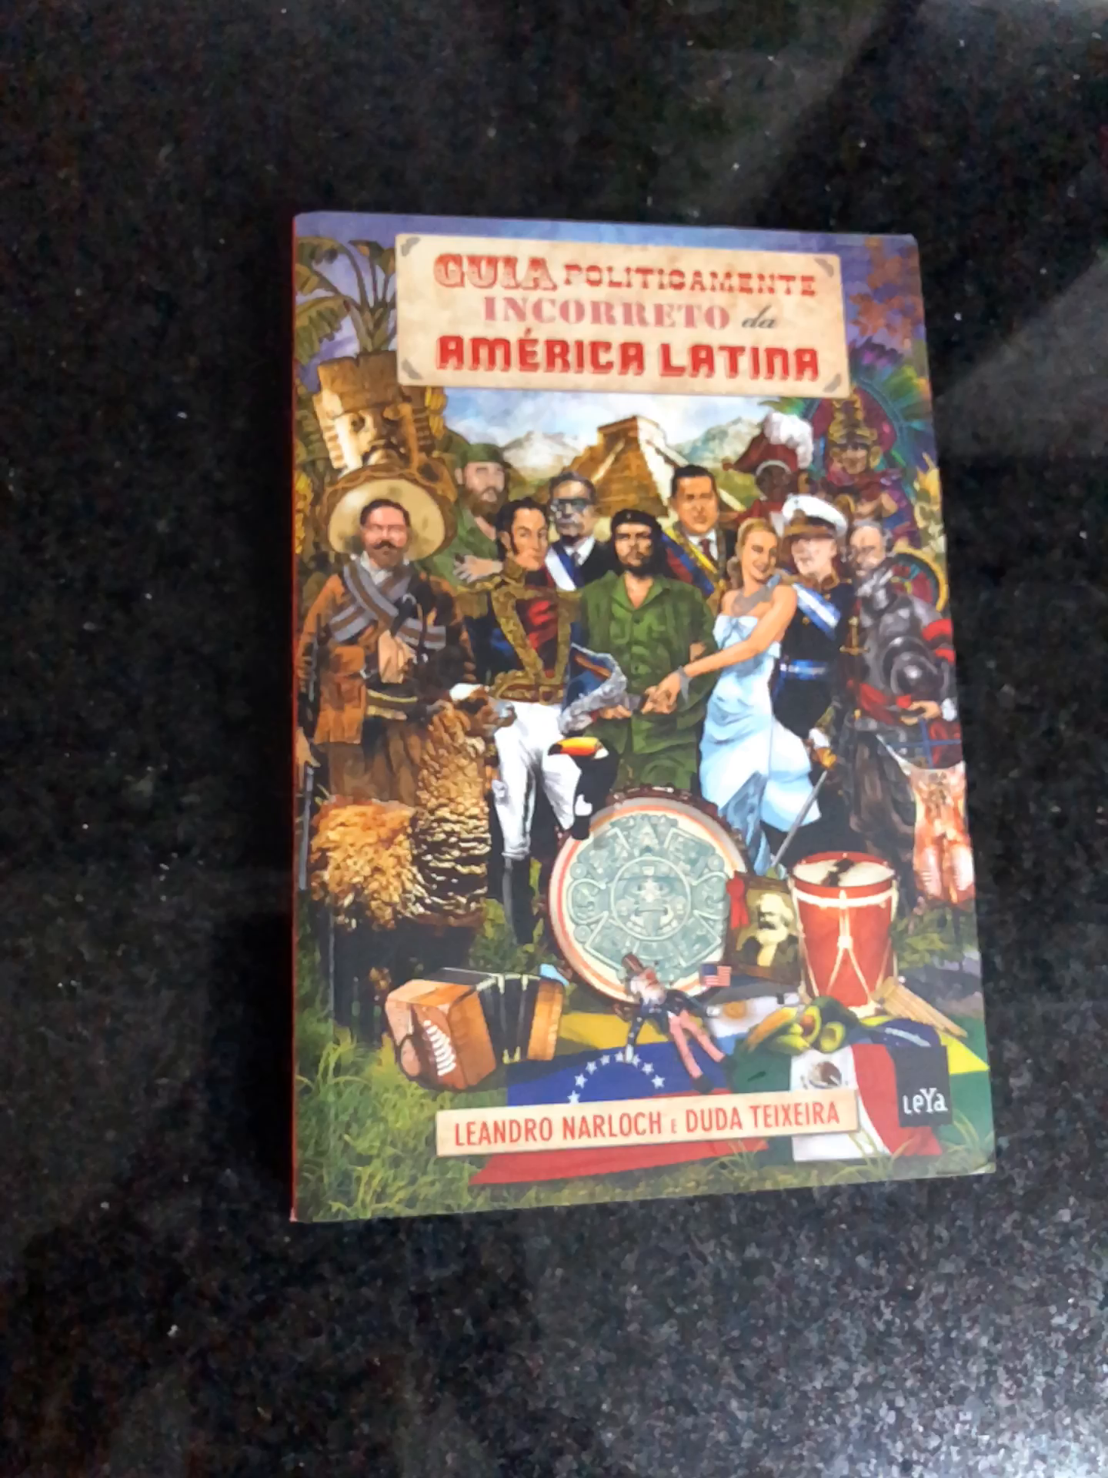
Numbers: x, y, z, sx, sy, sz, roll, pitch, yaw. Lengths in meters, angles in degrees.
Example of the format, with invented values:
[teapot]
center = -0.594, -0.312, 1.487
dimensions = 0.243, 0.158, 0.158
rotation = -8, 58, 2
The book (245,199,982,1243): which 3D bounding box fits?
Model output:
[book]
center = 0.008, -0.010, 0.286
dimensions = 0.150, 0.040, 0.220
rotation = -1, 80, -8
